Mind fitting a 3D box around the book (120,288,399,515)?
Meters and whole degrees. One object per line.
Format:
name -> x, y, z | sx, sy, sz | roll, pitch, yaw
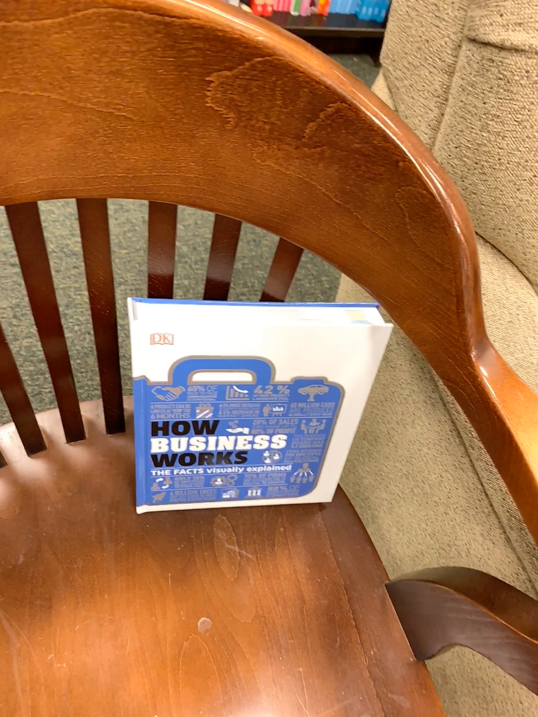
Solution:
book -> -0.023, 0.051, 0.504 | 0.211, 0.246, 0.039 | 0, 43, -13
